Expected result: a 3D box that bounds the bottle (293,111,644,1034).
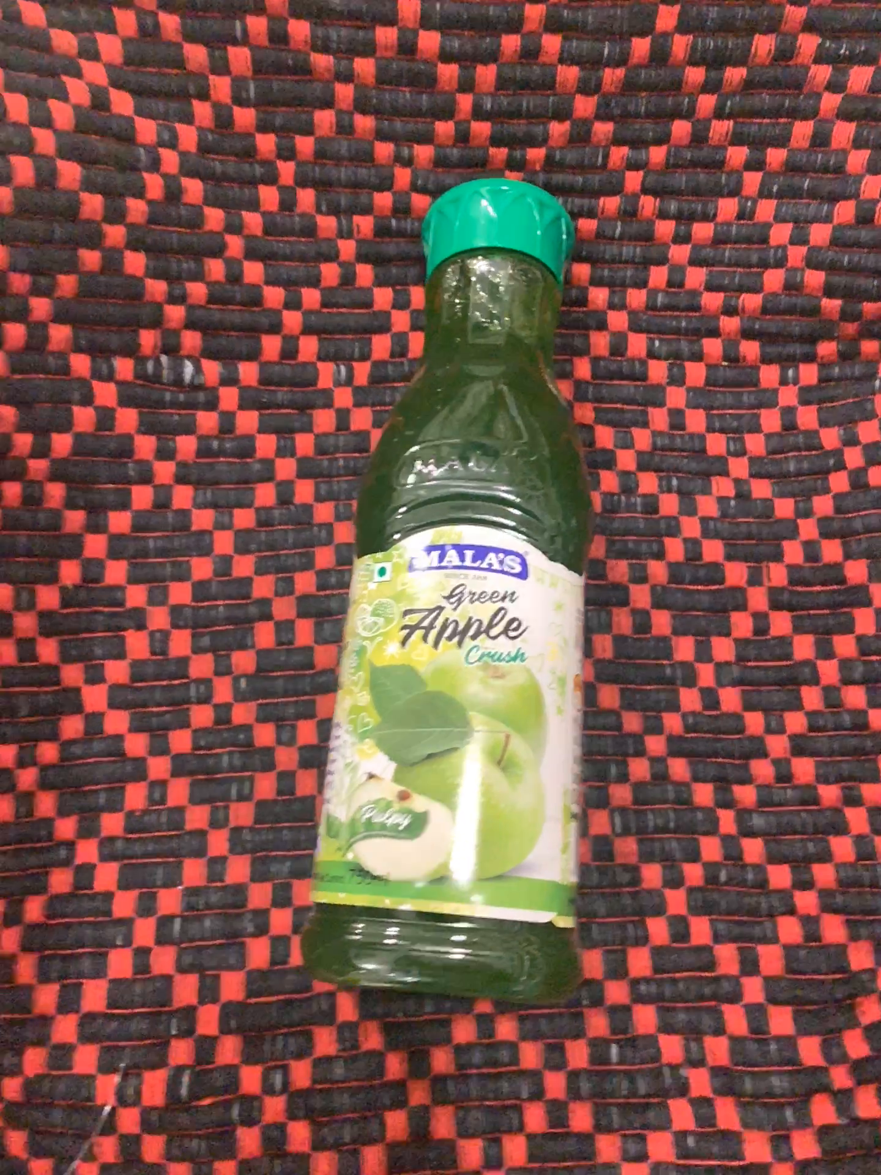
[{"bbox_3d":[0.013,-0.015,0.263,0.070,0.070,0.250,5,67,-1],"label":"bottle"}]
